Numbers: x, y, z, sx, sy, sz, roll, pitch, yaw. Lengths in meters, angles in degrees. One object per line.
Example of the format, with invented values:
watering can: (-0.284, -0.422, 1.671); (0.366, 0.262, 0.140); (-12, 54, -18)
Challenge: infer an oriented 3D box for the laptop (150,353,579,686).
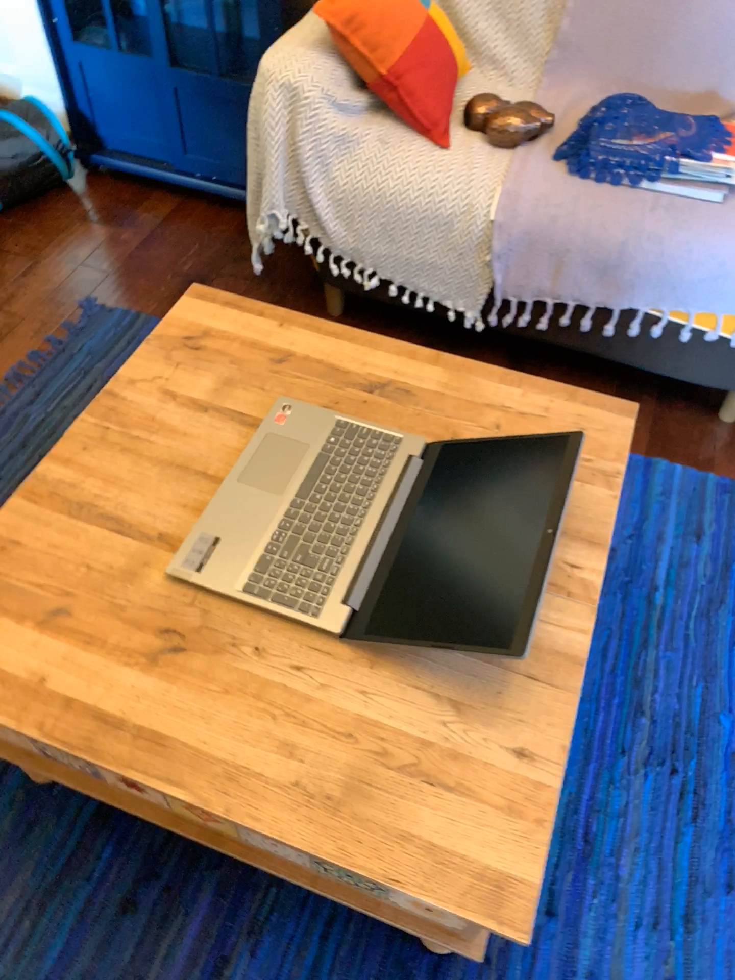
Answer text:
laptop: (0.008, 0.012, 1.008); (0.461, 0.099, 0.347); (16, 52, 14)
